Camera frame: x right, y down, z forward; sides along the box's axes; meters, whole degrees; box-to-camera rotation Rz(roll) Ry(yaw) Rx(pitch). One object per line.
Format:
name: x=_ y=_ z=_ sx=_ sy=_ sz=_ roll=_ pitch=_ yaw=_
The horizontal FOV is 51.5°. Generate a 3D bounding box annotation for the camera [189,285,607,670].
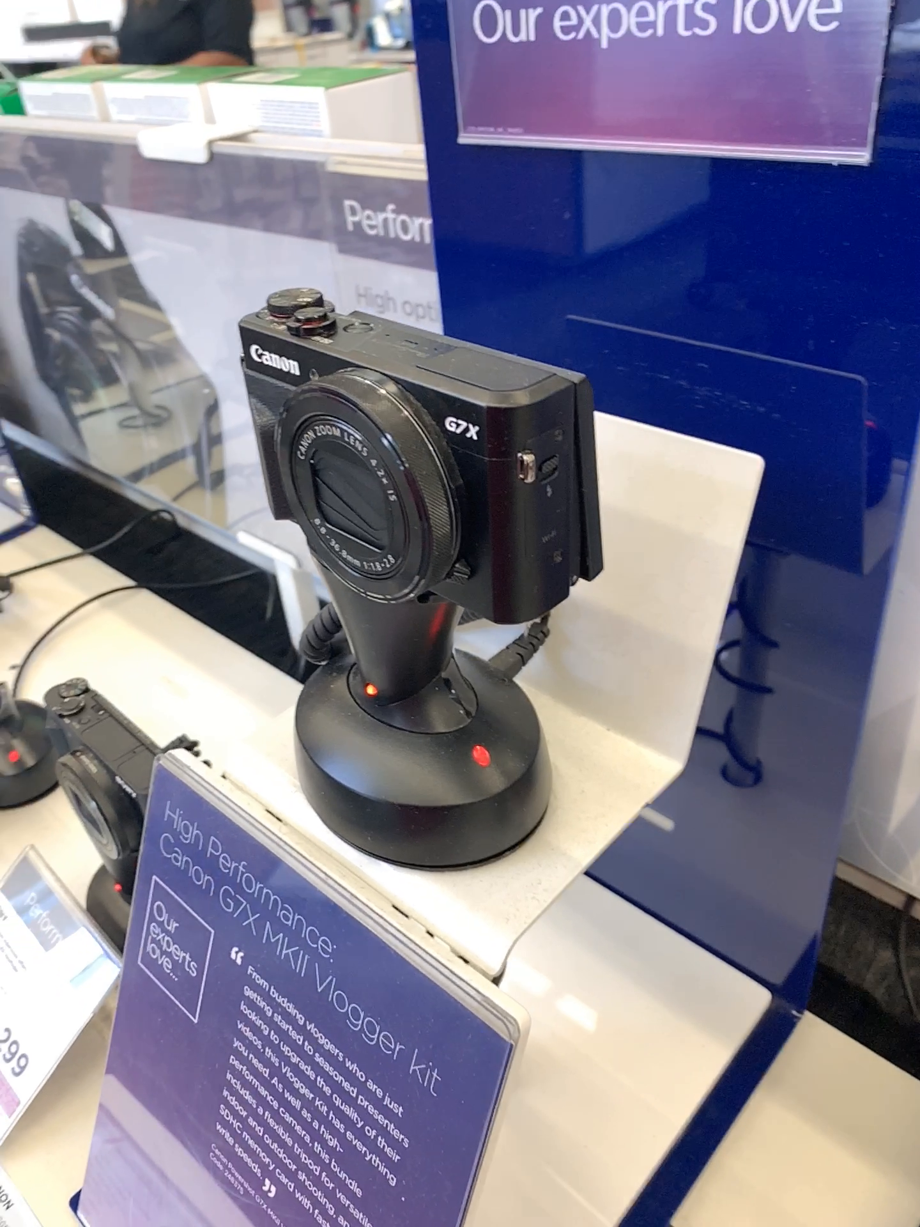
camera: x=-0.018 y=-0.040 z=0.240 sx=0.038 sy=0.059 sz=0.109 roll=-29 pitch=41 yaw=-34
